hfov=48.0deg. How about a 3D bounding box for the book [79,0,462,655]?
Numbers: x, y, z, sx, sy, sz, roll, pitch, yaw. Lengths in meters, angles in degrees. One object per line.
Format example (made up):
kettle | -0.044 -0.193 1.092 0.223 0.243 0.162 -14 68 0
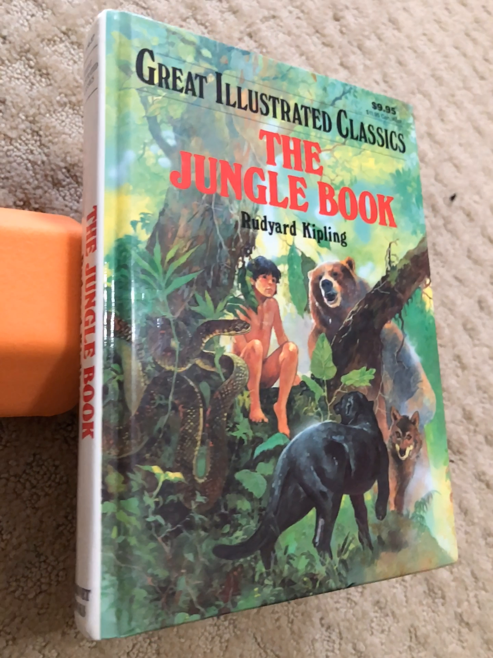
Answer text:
book | 0.012 -0.008 0.213 0.141 0.029 0.207 3 78 -29
